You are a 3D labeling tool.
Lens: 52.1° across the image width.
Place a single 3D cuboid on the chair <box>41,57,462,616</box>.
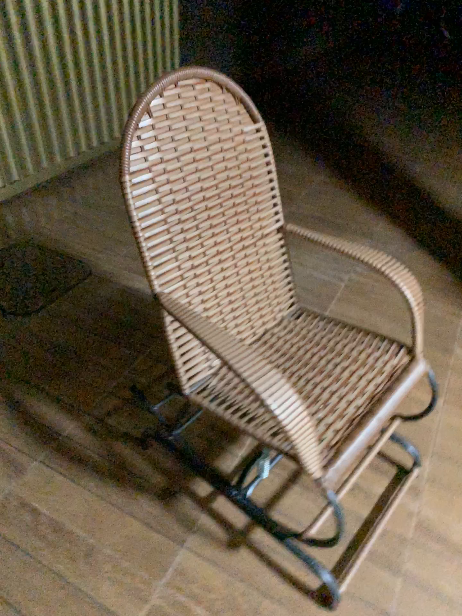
[{"bbox_3d":[0.121,0.062,1.167,0.783,1.050,0.601,30,45,30],"label":"chair"}]
